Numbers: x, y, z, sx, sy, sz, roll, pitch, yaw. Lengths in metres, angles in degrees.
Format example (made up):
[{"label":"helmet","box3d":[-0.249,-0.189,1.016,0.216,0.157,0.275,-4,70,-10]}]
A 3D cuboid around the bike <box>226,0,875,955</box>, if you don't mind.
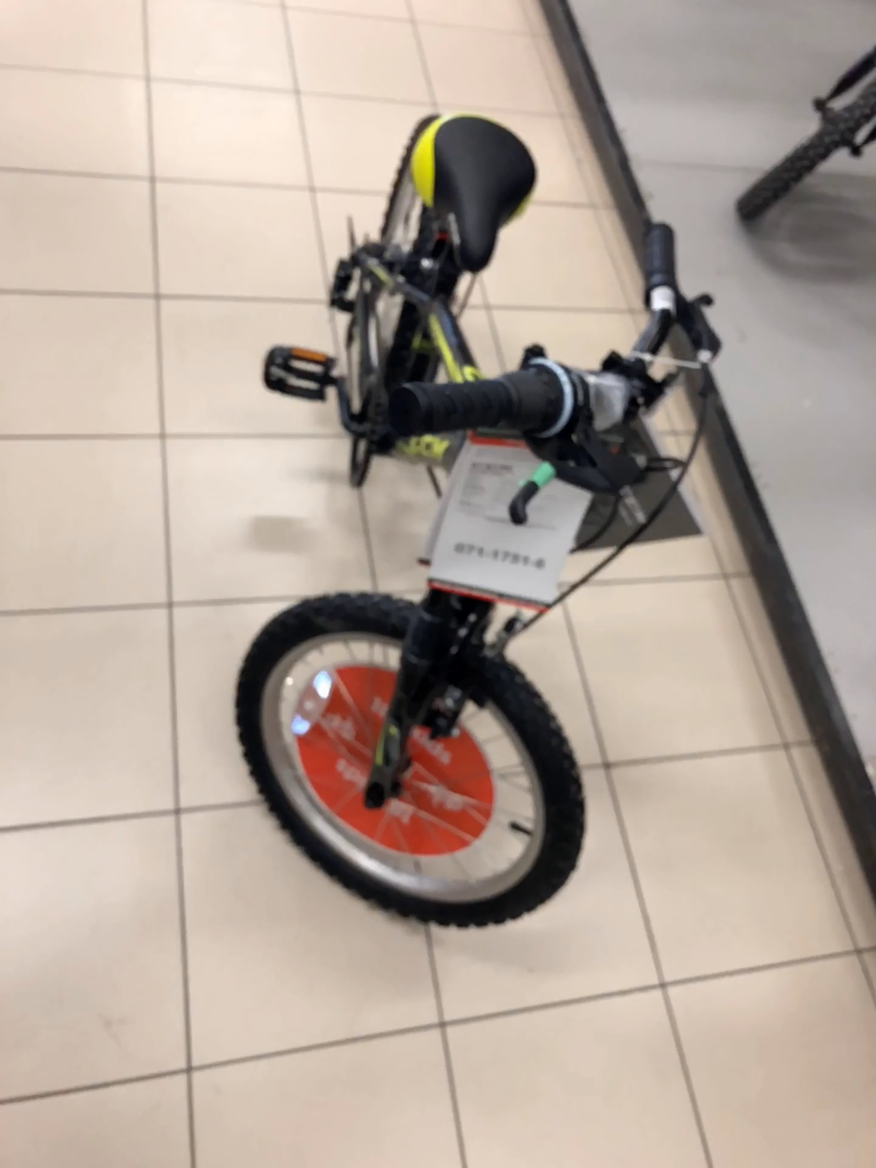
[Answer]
[{"label":"bike","box3d":[0.058,-0.268,1.198,0.549,0.861,1.198,-1,60,-15]}]
